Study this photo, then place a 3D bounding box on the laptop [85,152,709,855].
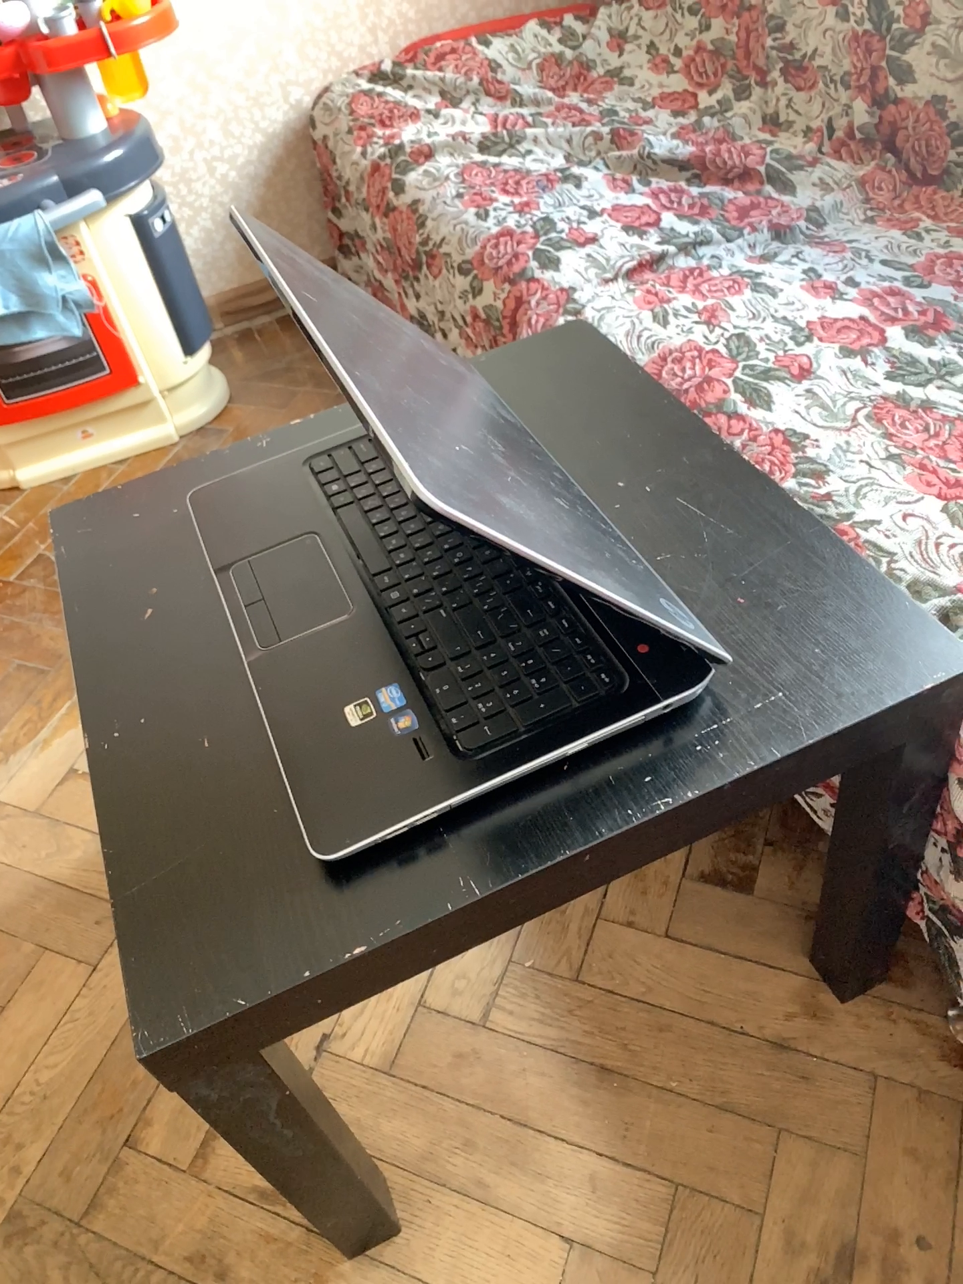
[{"bbox_3d":[-0.073,-0.123,0.654,0.256,0.201,0.407,-23,46,-9],"label":"laptop"}]
